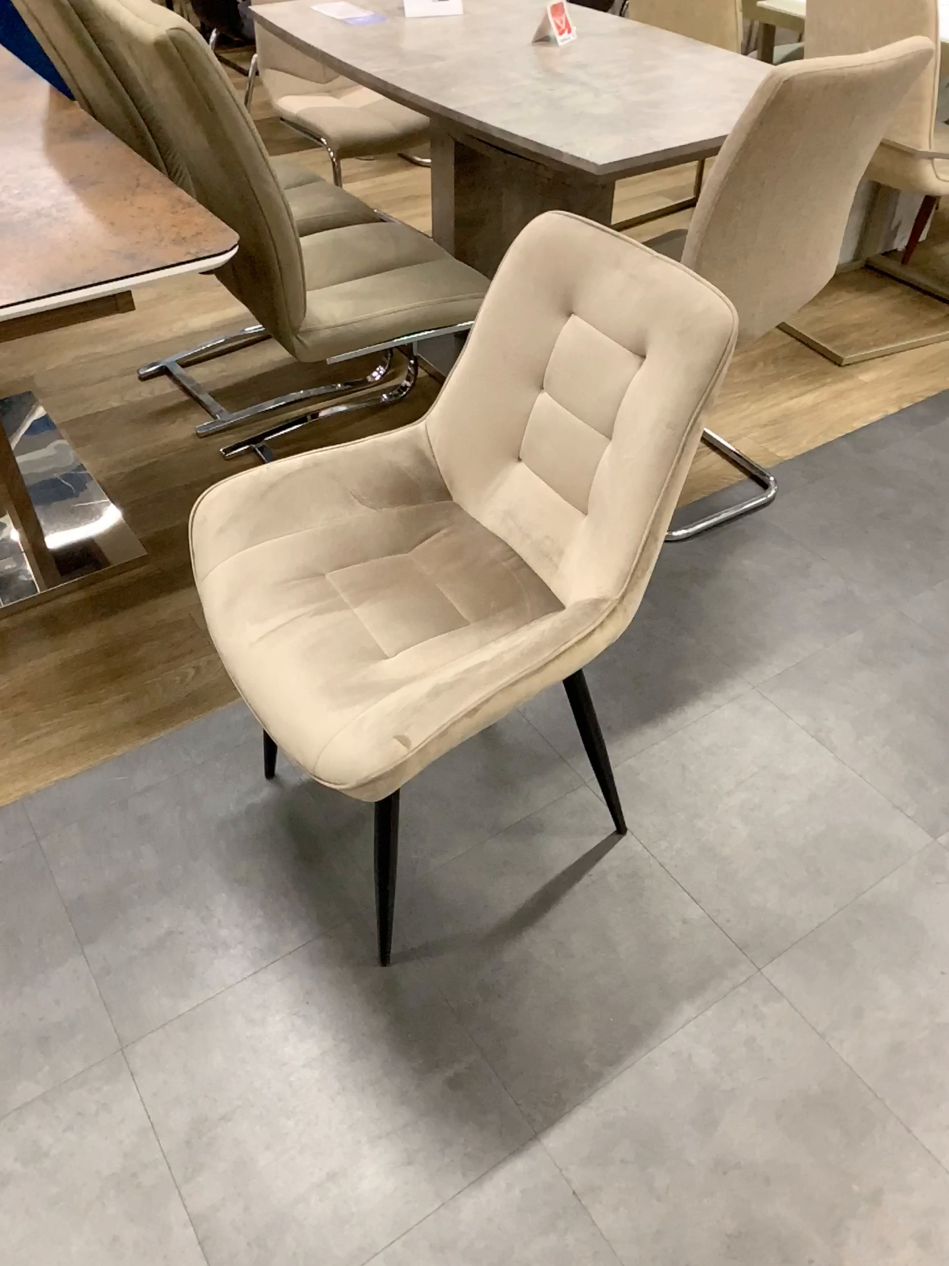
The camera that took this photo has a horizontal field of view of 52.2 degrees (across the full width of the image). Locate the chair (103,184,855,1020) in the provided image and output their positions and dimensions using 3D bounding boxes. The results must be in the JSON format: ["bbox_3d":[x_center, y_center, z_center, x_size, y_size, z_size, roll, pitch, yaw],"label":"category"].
[{"bbox_3d":[-0.020,-0.050,1.328,0.611,0.817,0.568,-22,47,-23],"label":"chair"}]
